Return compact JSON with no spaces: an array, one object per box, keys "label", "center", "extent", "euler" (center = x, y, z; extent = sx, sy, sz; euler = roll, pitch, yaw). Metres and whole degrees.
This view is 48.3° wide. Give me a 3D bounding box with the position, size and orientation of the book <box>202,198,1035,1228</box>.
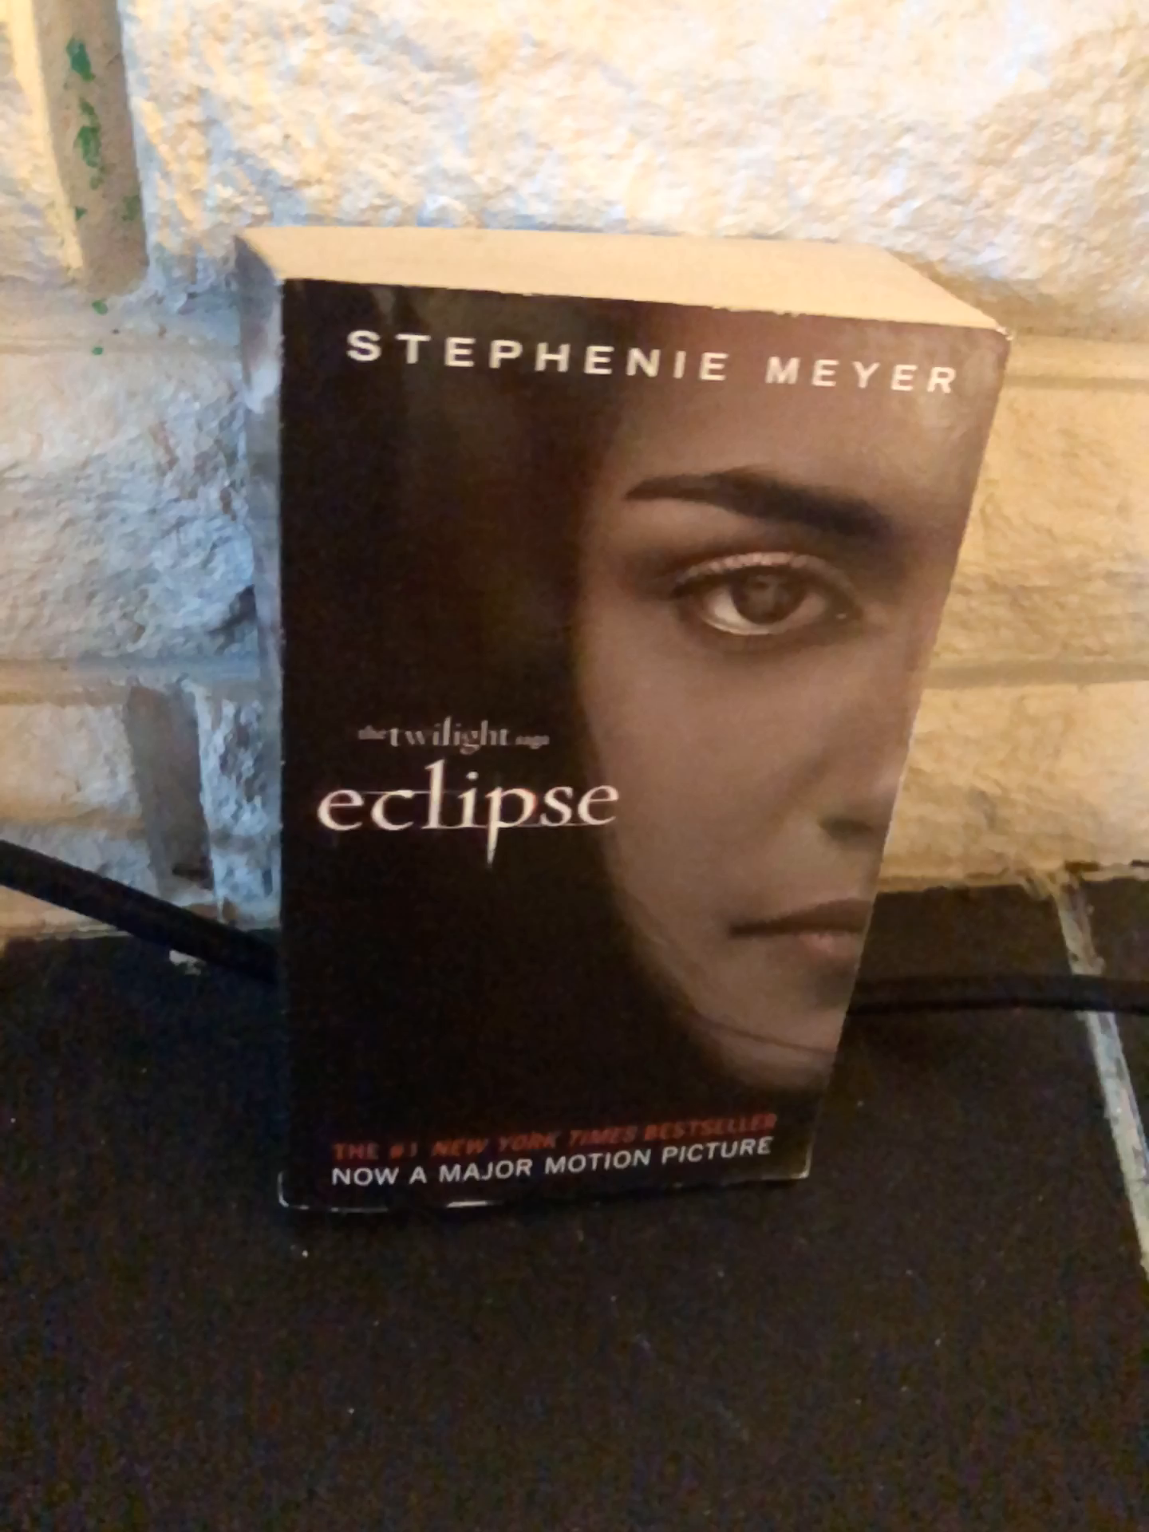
[{"label":"book","center":[-0.002,0.004,0.227],"extent":[0.106,0.181,0.042],"euler":[0,33,-8]}]
